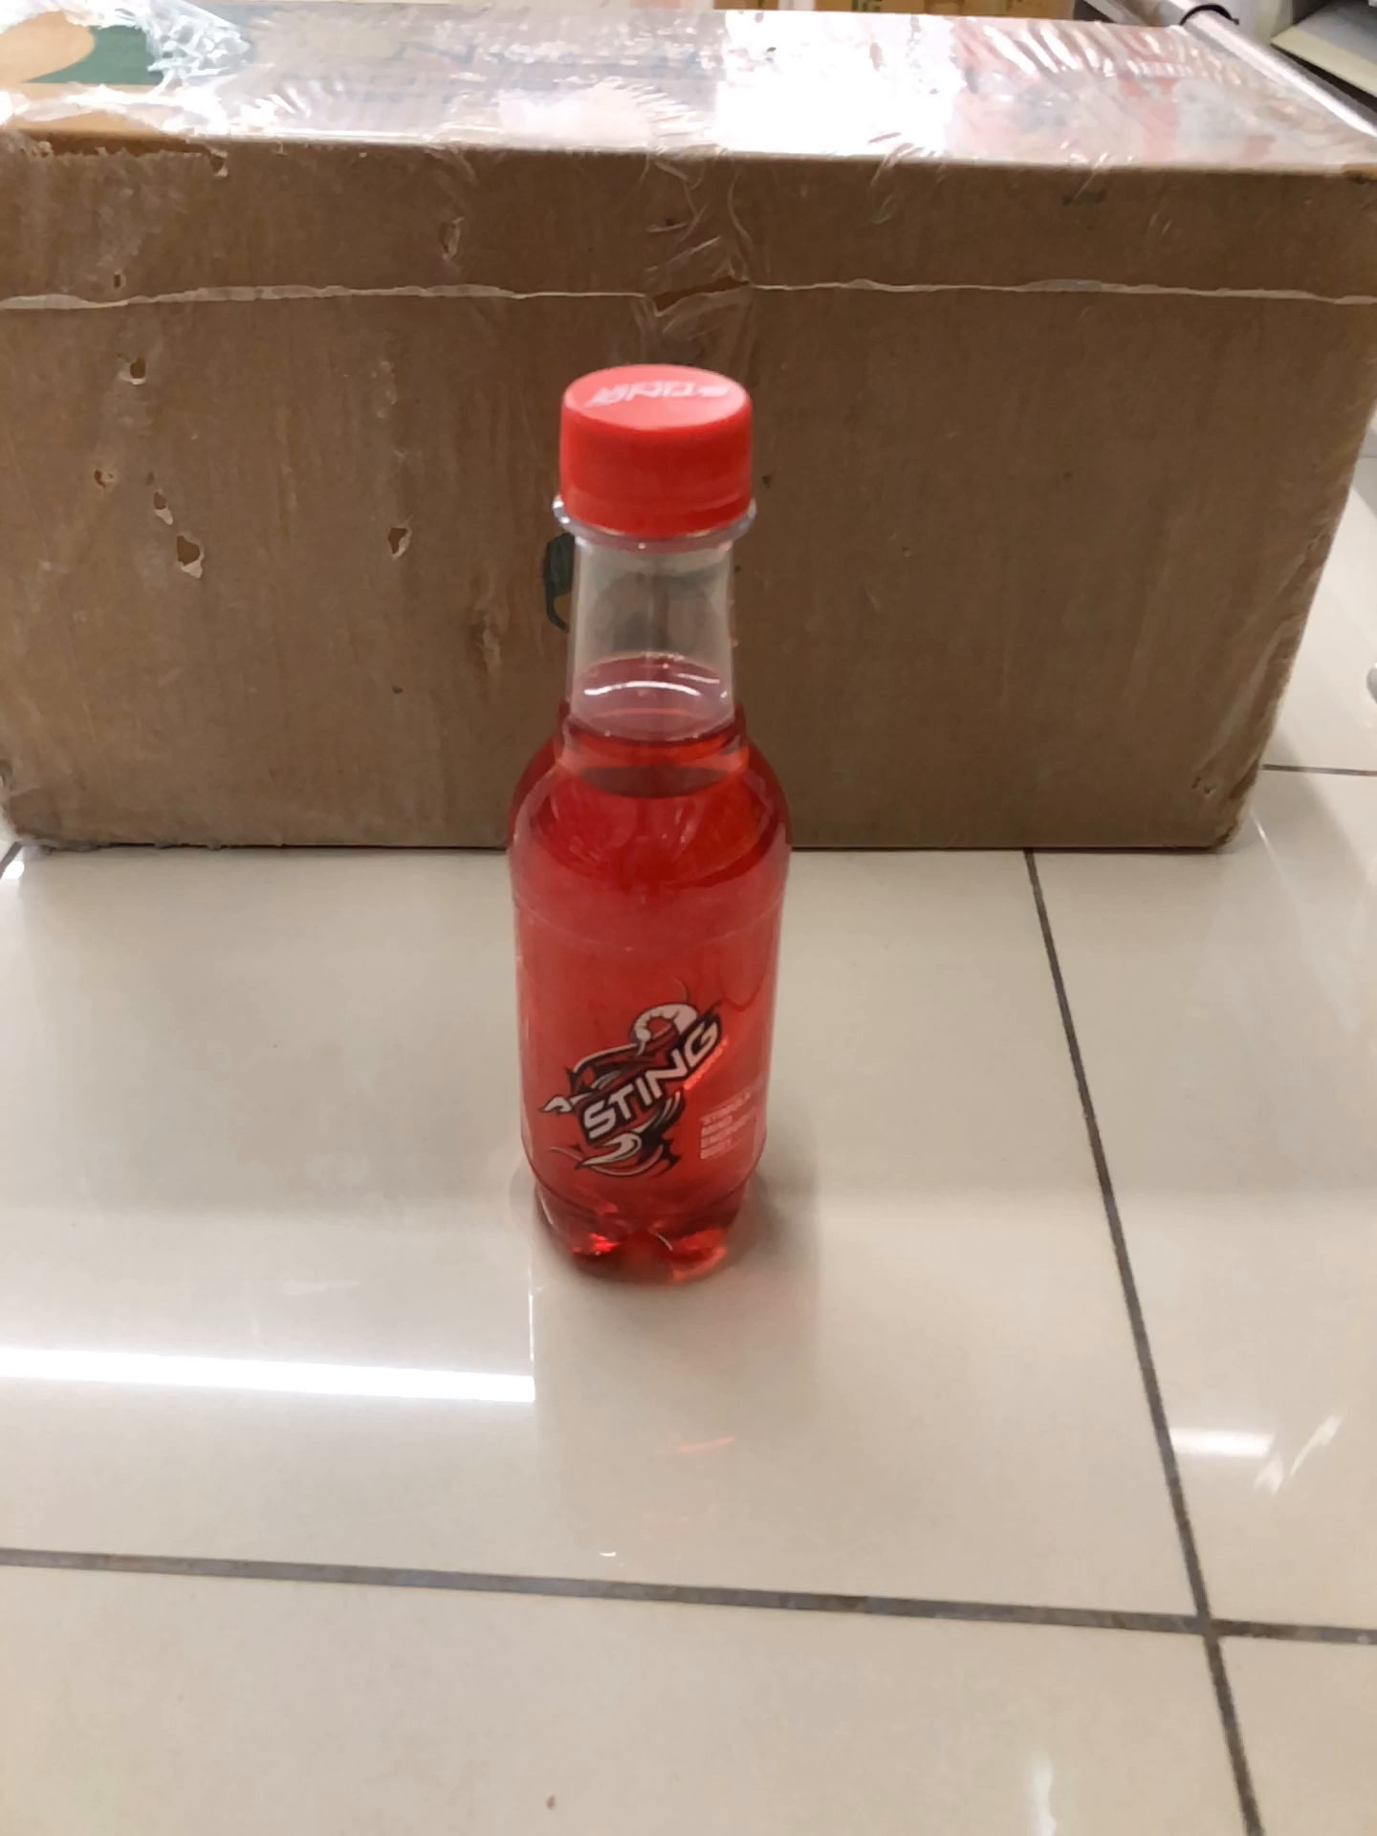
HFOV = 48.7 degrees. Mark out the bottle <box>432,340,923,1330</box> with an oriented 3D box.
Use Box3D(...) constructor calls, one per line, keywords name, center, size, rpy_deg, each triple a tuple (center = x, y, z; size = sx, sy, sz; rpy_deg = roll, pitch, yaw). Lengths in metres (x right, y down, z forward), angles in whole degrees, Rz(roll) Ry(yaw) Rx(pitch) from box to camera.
Box3D(name="bottle", center=(-0.002, -0.009, 0.296), size=(0.070, 0.179, 0.070), rpy_deg=(1, 36, -1))
